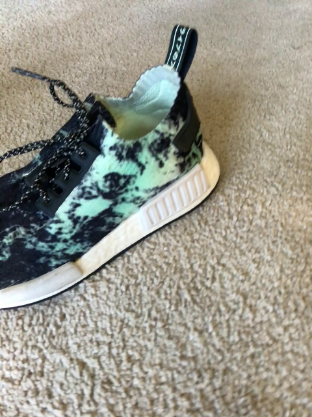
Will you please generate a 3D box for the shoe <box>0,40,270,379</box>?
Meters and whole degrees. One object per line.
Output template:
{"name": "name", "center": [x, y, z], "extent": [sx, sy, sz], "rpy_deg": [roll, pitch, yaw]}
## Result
{"name": "shoe", "center": [-0.074, -0.019, 0.271], "extent": [0.287, 0.100, 0.131], "rpy_deg": [-26, 51, -15]}
